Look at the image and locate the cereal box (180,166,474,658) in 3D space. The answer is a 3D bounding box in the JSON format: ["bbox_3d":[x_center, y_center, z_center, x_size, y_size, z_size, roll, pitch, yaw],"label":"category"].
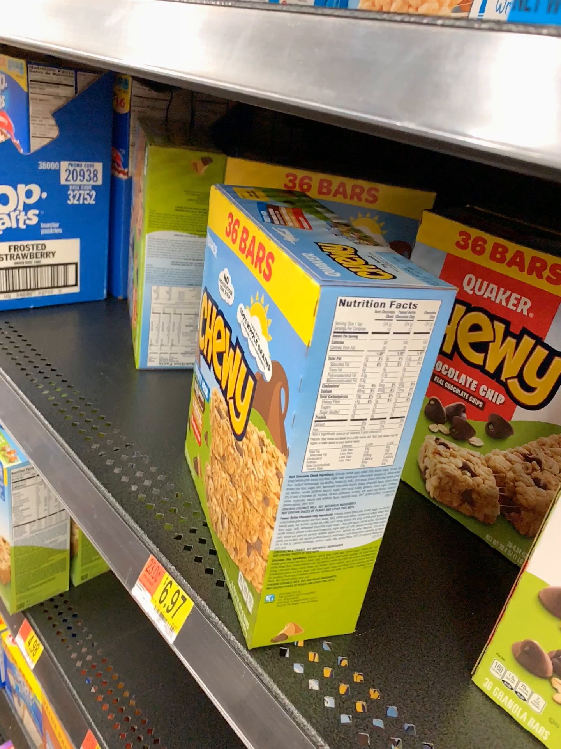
[{"bbox_3d":[-0.001,0.010,0.368,0.070,0.229,0.201,0,29,-21],"label":"cereal box"}]
